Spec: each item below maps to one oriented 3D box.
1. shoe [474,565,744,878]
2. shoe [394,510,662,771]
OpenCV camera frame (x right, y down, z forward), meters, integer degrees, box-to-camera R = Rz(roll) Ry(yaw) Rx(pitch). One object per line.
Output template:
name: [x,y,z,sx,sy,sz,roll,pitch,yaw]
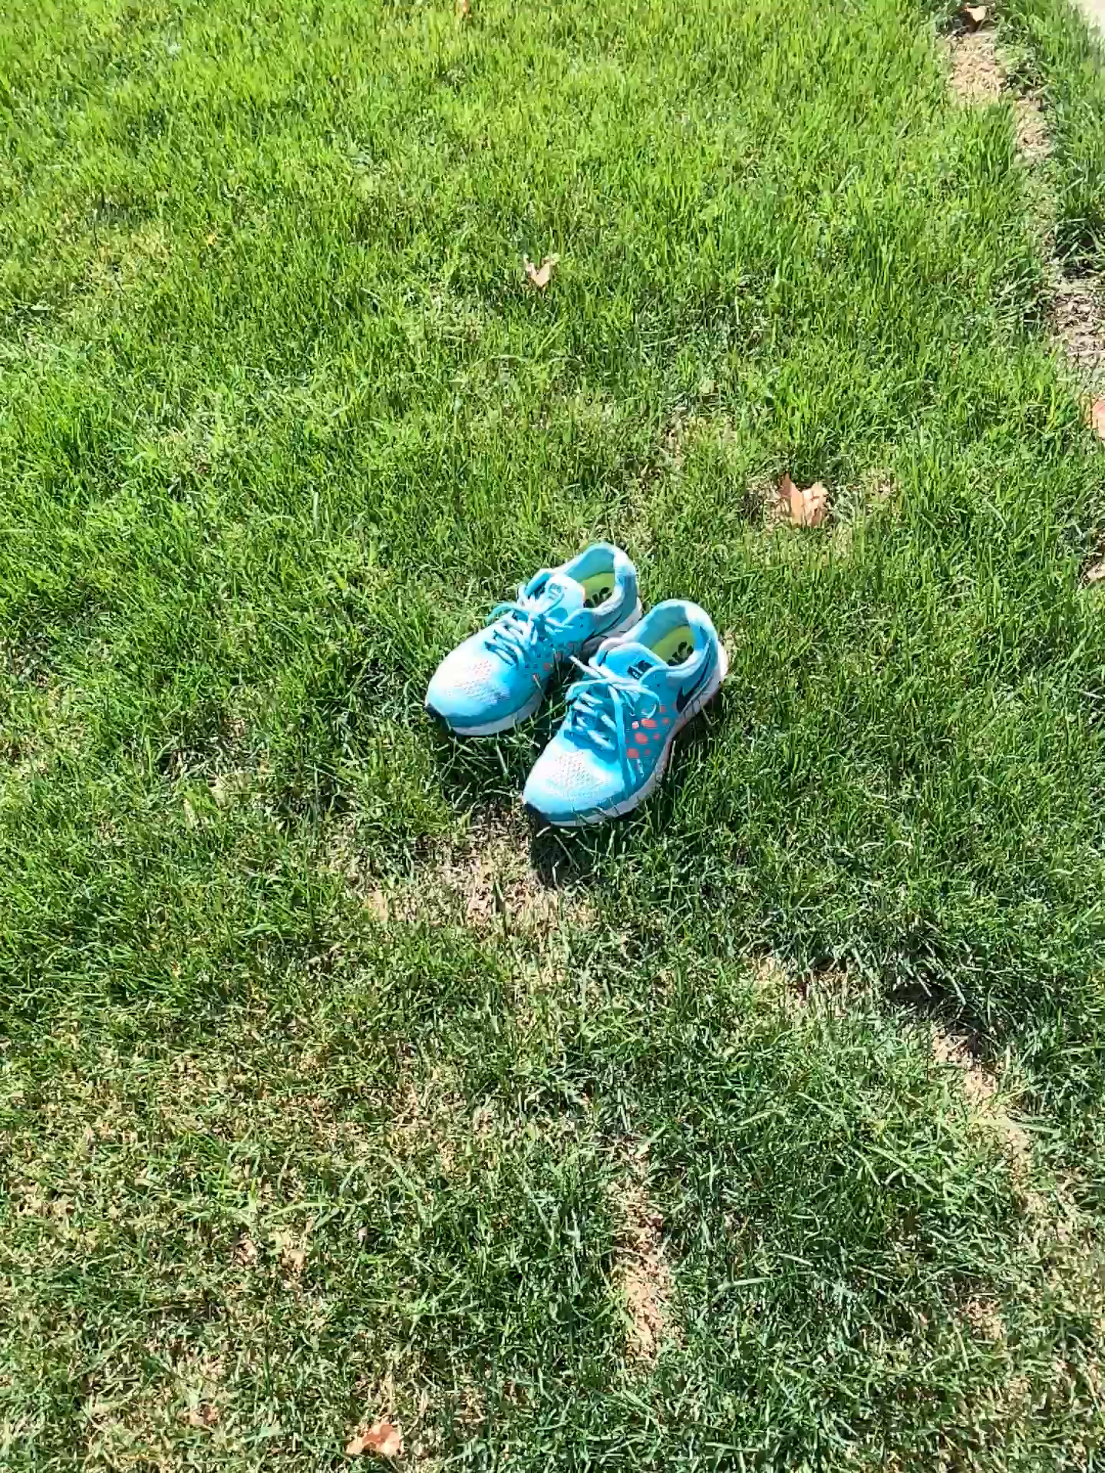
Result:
shoe: [0.057,-0.018,1.032,0.110,0.100,0.260,29,64,22]
shoe: [-0.017,-0.095,1.079,0.250,0.080,0.100,-41,62,-19]
